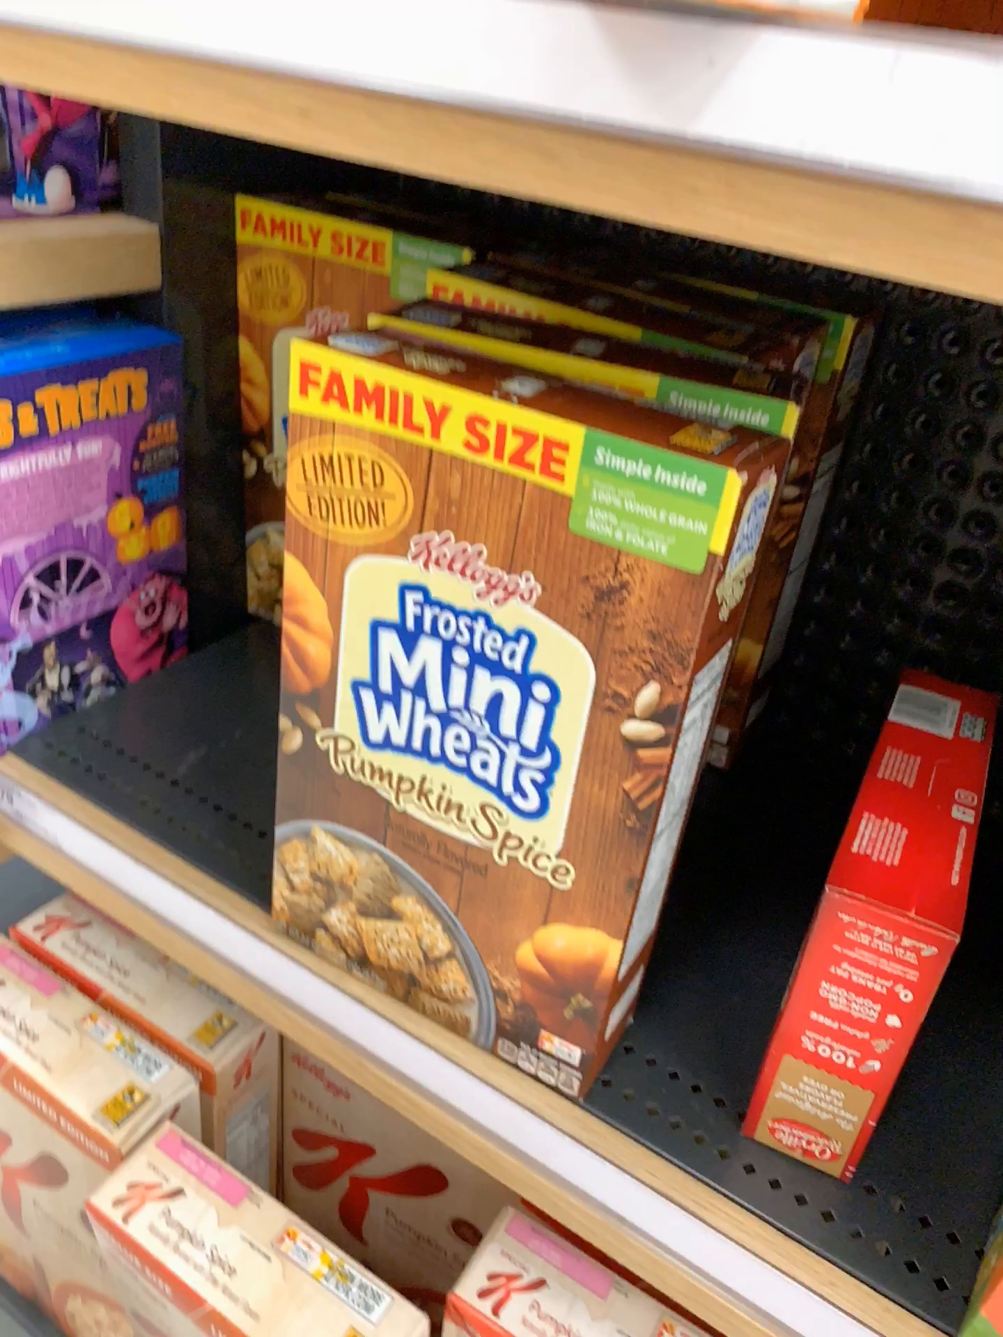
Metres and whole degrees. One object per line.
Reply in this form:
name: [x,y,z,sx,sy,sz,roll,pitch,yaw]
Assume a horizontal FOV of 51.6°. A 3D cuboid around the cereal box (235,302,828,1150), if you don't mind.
cereal box: [-0.014,0.032,0.431,0.200,0.308,0.050,22,32,21]
